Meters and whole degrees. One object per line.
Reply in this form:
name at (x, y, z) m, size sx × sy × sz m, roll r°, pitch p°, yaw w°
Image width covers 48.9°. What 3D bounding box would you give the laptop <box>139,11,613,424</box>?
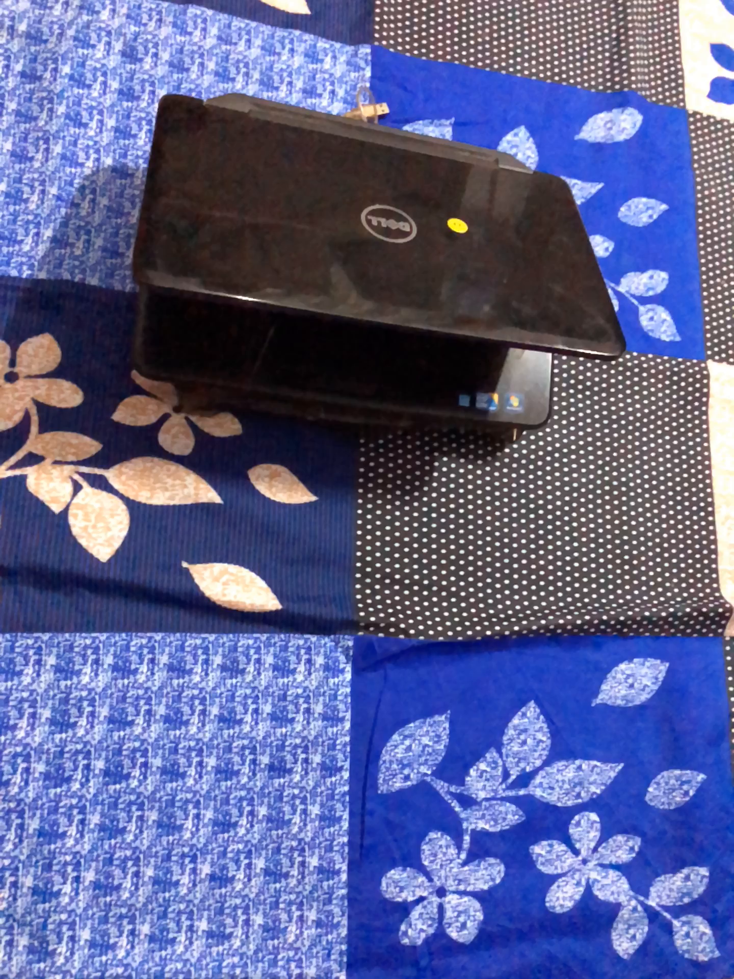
laptop at (0.013, -0.204, 0.663) m, size 0.362 × 0.092 × 0.235 m, roll 6°, pitch 82°, yaw -15°
